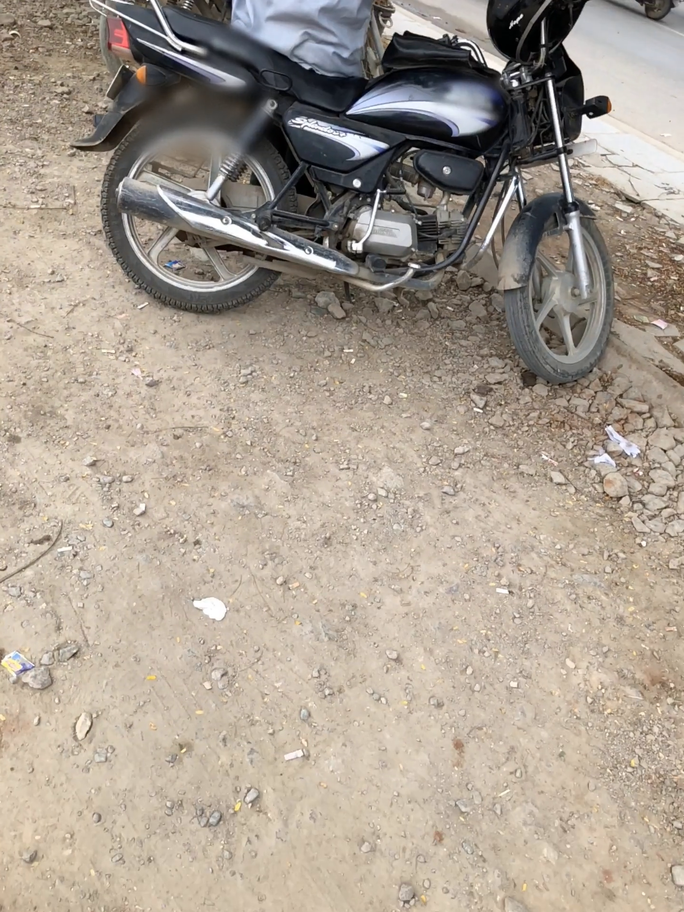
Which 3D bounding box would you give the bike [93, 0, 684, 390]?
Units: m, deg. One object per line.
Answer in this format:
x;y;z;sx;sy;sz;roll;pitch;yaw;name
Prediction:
0.135;-0.974;2.315;1.595;1.170;0.743;5;40;-11;bike
